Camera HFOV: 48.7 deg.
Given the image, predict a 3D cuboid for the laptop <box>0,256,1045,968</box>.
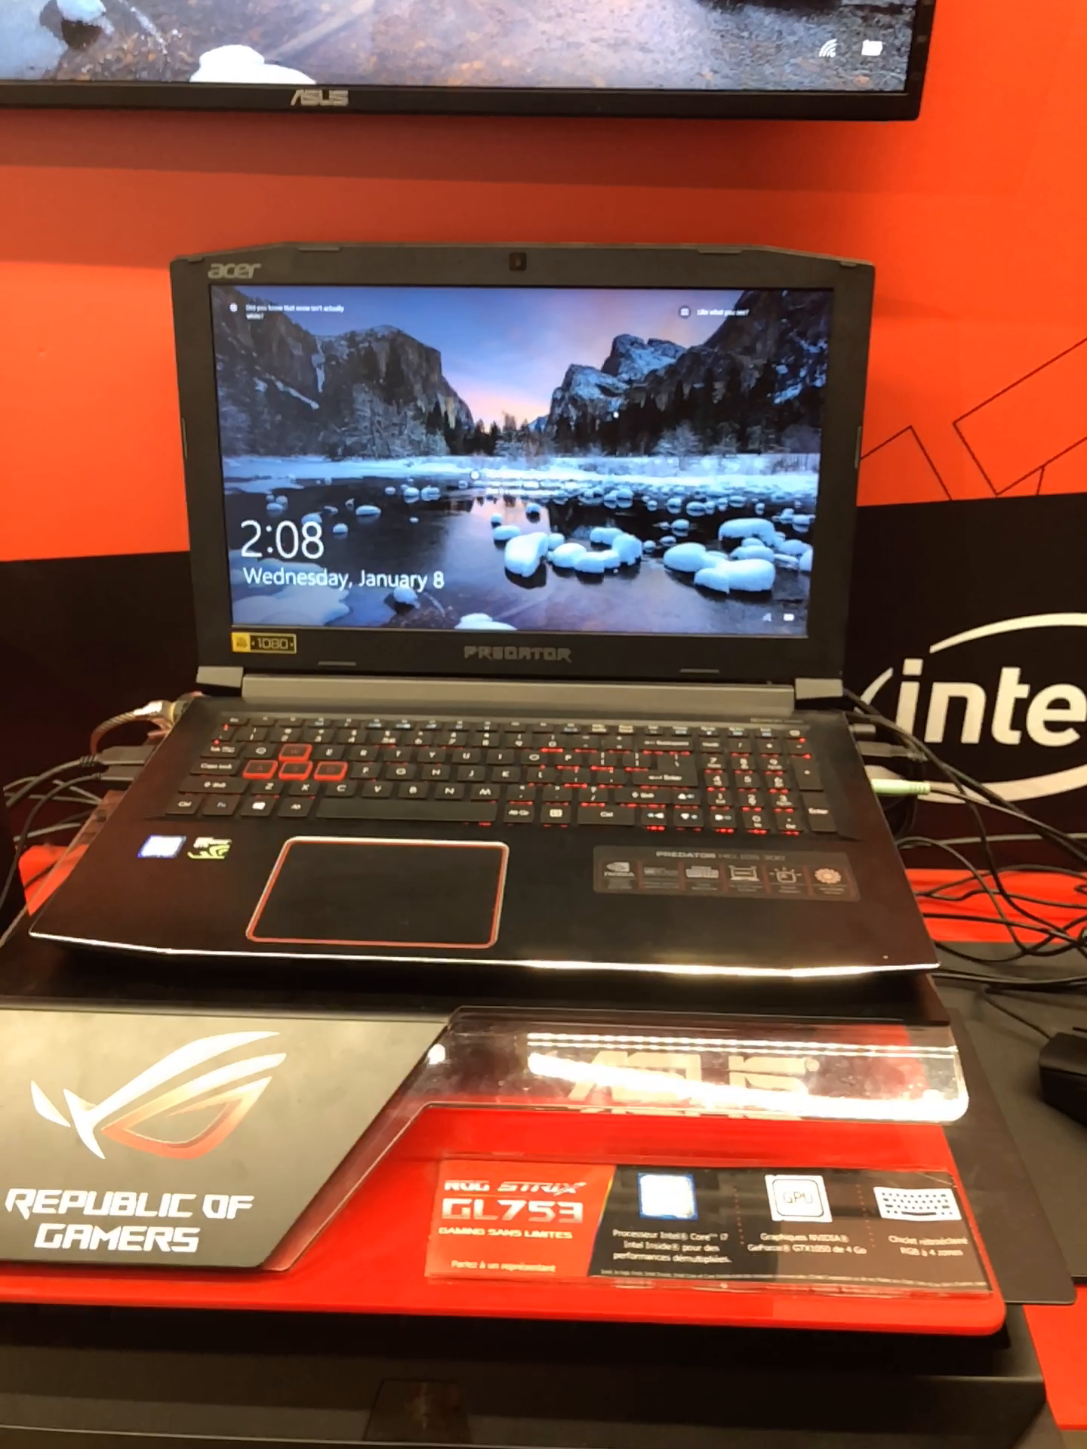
[{"bbox_3d":[-0.019,-0.082,0.586,0.385,0.240,0.295,2,26,3],"label":"laptop"}]
